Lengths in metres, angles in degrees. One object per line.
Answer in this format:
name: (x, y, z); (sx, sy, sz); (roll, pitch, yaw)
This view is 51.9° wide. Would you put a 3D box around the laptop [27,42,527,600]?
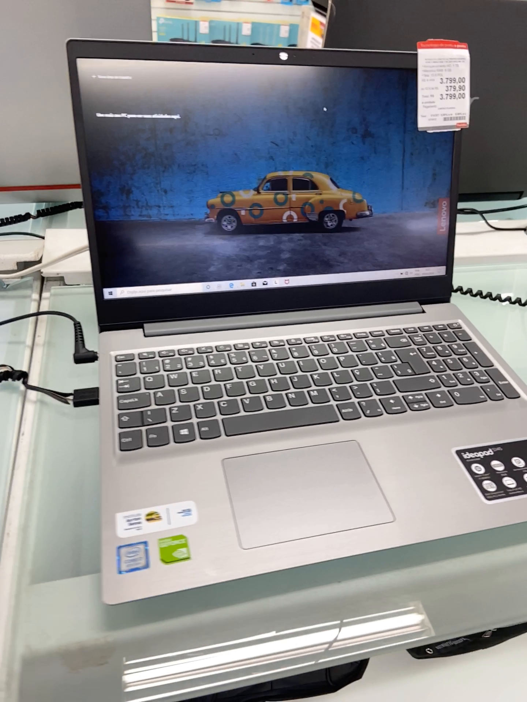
laptop: (0.051, -0.072, 0.416); (0.364, 0.213, 0.362); (-6, 41, -13)
